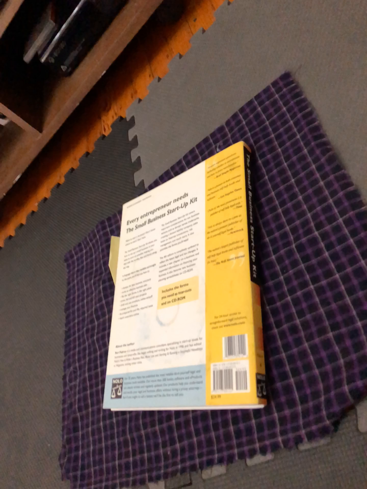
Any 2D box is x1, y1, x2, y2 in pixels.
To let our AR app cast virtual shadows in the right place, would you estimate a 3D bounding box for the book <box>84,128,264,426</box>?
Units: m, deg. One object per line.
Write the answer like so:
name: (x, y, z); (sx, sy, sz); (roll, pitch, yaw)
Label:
book: (-0.019, 0.043, 0.479); (0.230, 0.030, 0.311); (-20, 57, 39)
